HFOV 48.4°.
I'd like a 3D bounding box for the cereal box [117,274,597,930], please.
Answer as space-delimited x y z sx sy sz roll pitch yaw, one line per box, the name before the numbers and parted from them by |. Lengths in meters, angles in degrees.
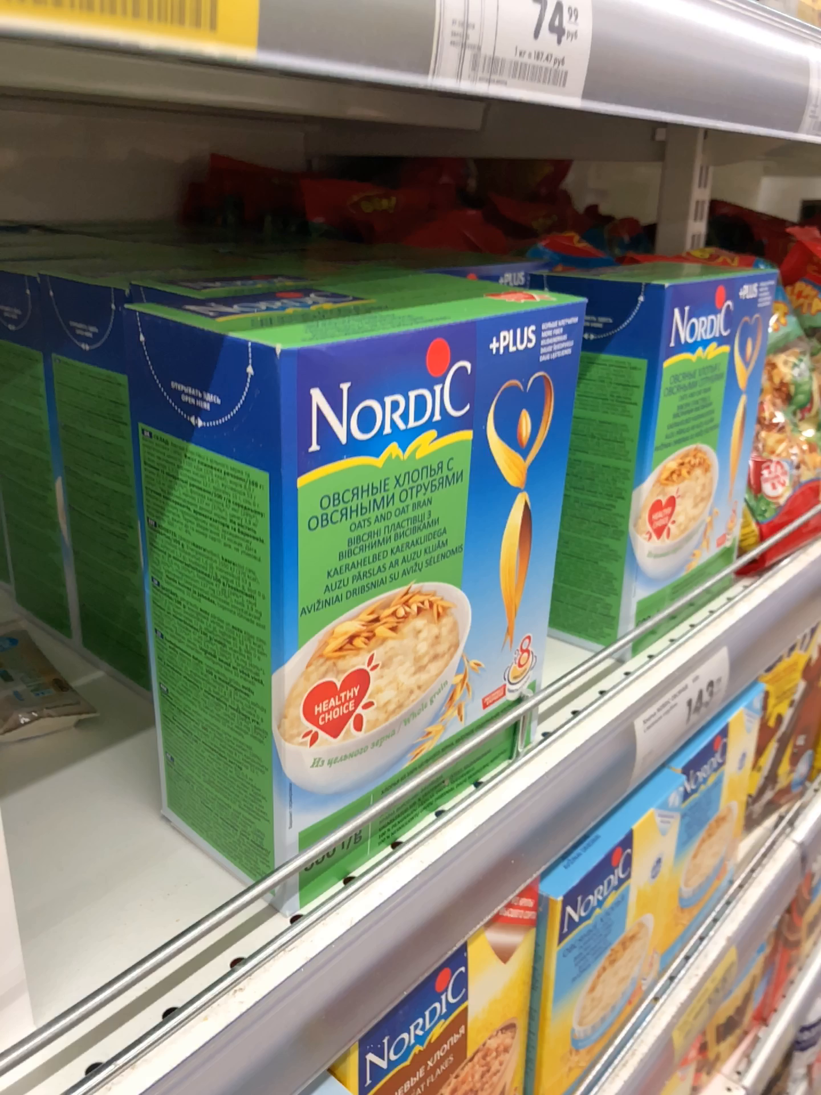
cereal box | -0.013 0.006 0.333 0.070 0.189 0.150 21 29 38
